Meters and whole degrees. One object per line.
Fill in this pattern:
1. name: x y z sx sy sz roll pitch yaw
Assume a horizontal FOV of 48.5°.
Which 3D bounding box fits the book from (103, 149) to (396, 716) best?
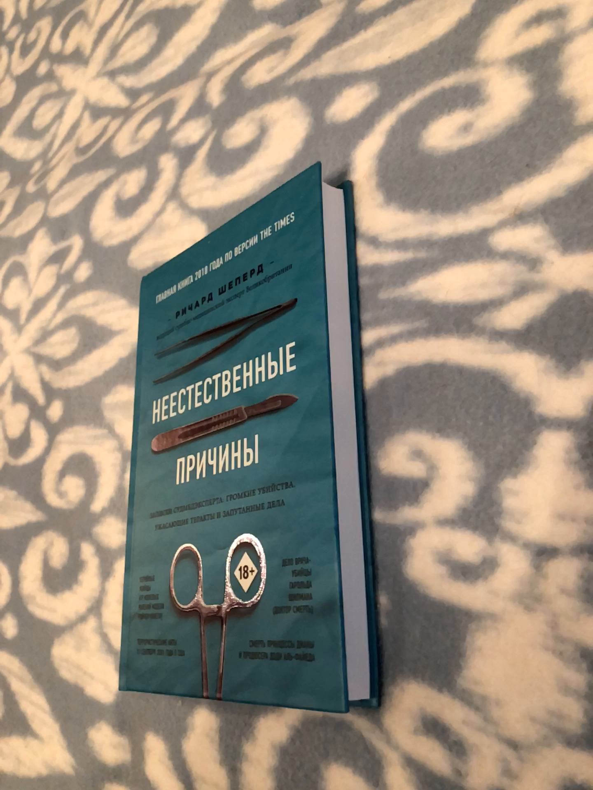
1. book: -0.031 0.019 0.301 0.149 0.025 0.218 -19 65 41
